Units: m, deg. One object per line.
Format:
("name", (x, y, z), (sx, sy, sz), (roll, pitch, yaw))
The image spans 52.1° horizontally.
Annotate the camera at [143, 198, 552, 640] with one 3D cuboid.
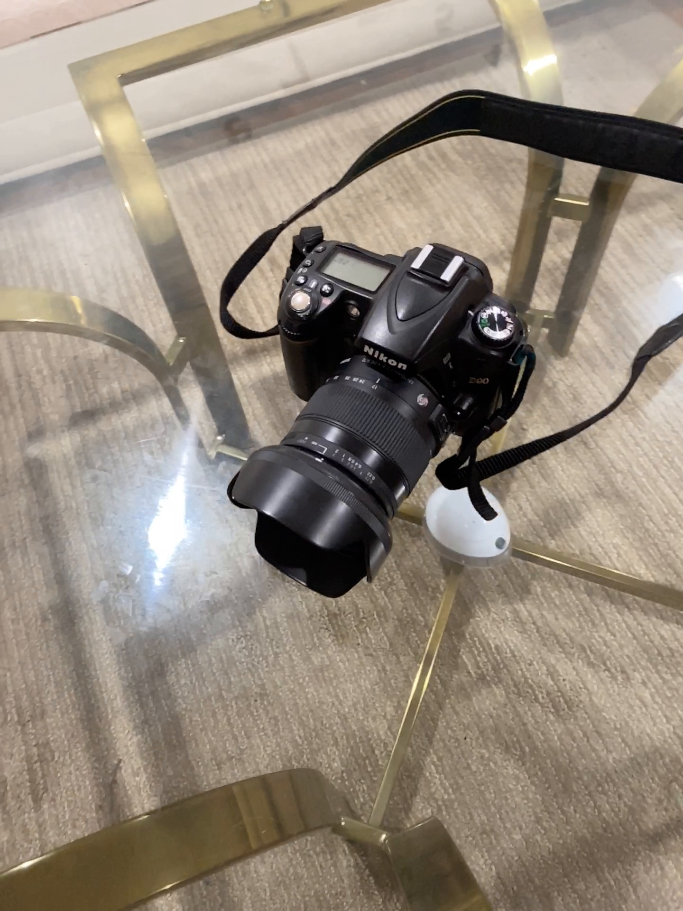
("camera", (0.012, -0.022, 0.396), (0.130, 0.120, 0.180), (25, 65, 17))
